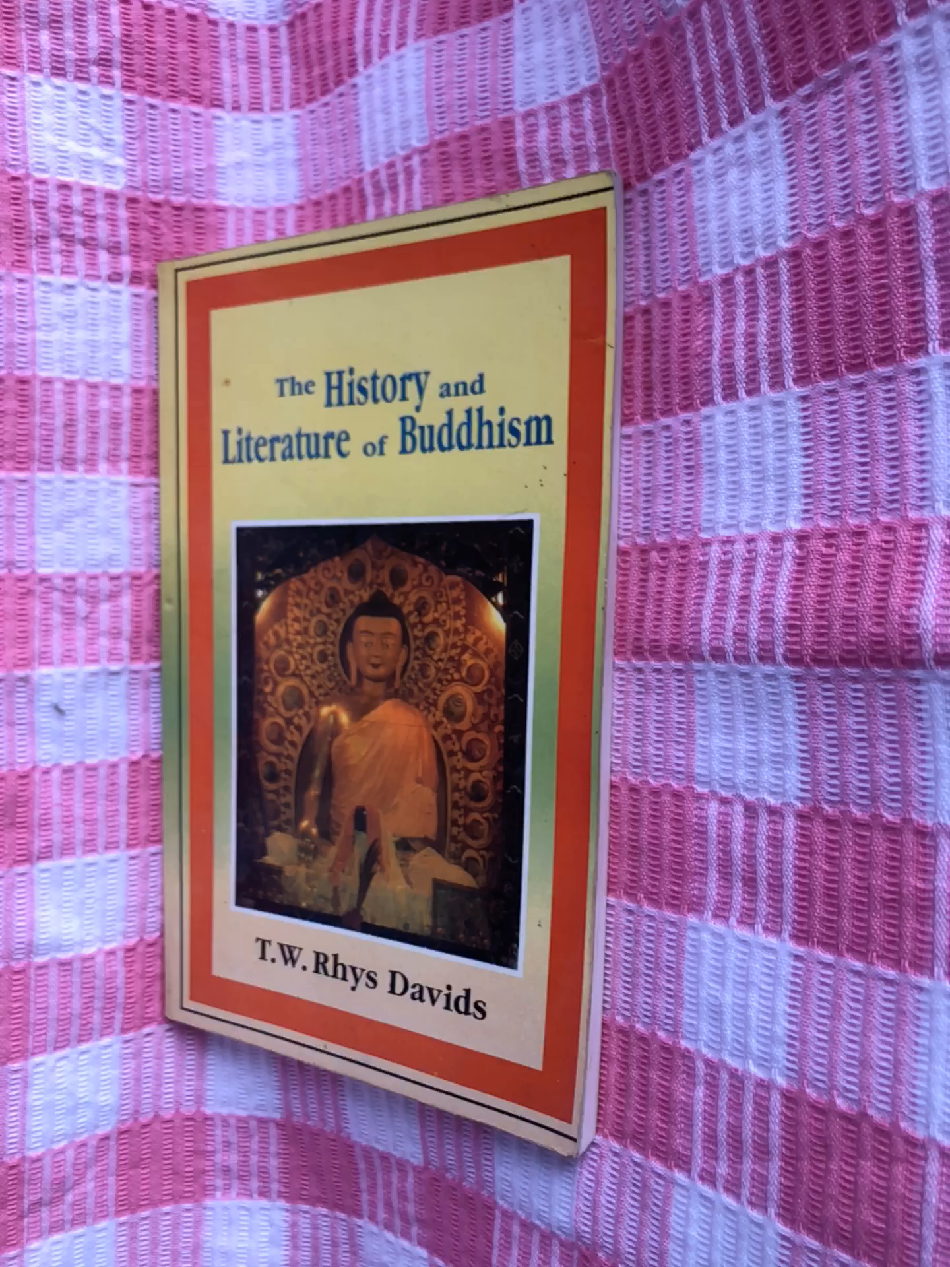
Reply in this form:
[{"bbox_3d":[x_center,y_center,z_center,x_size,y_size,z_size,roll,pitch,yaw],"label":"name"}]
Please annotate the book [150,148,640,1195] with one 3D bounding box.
[{"bbox_3d":[-0.029,0.007,0.271,0.020,0.139,0.220,-2,94,-55],"label":"book"}]
